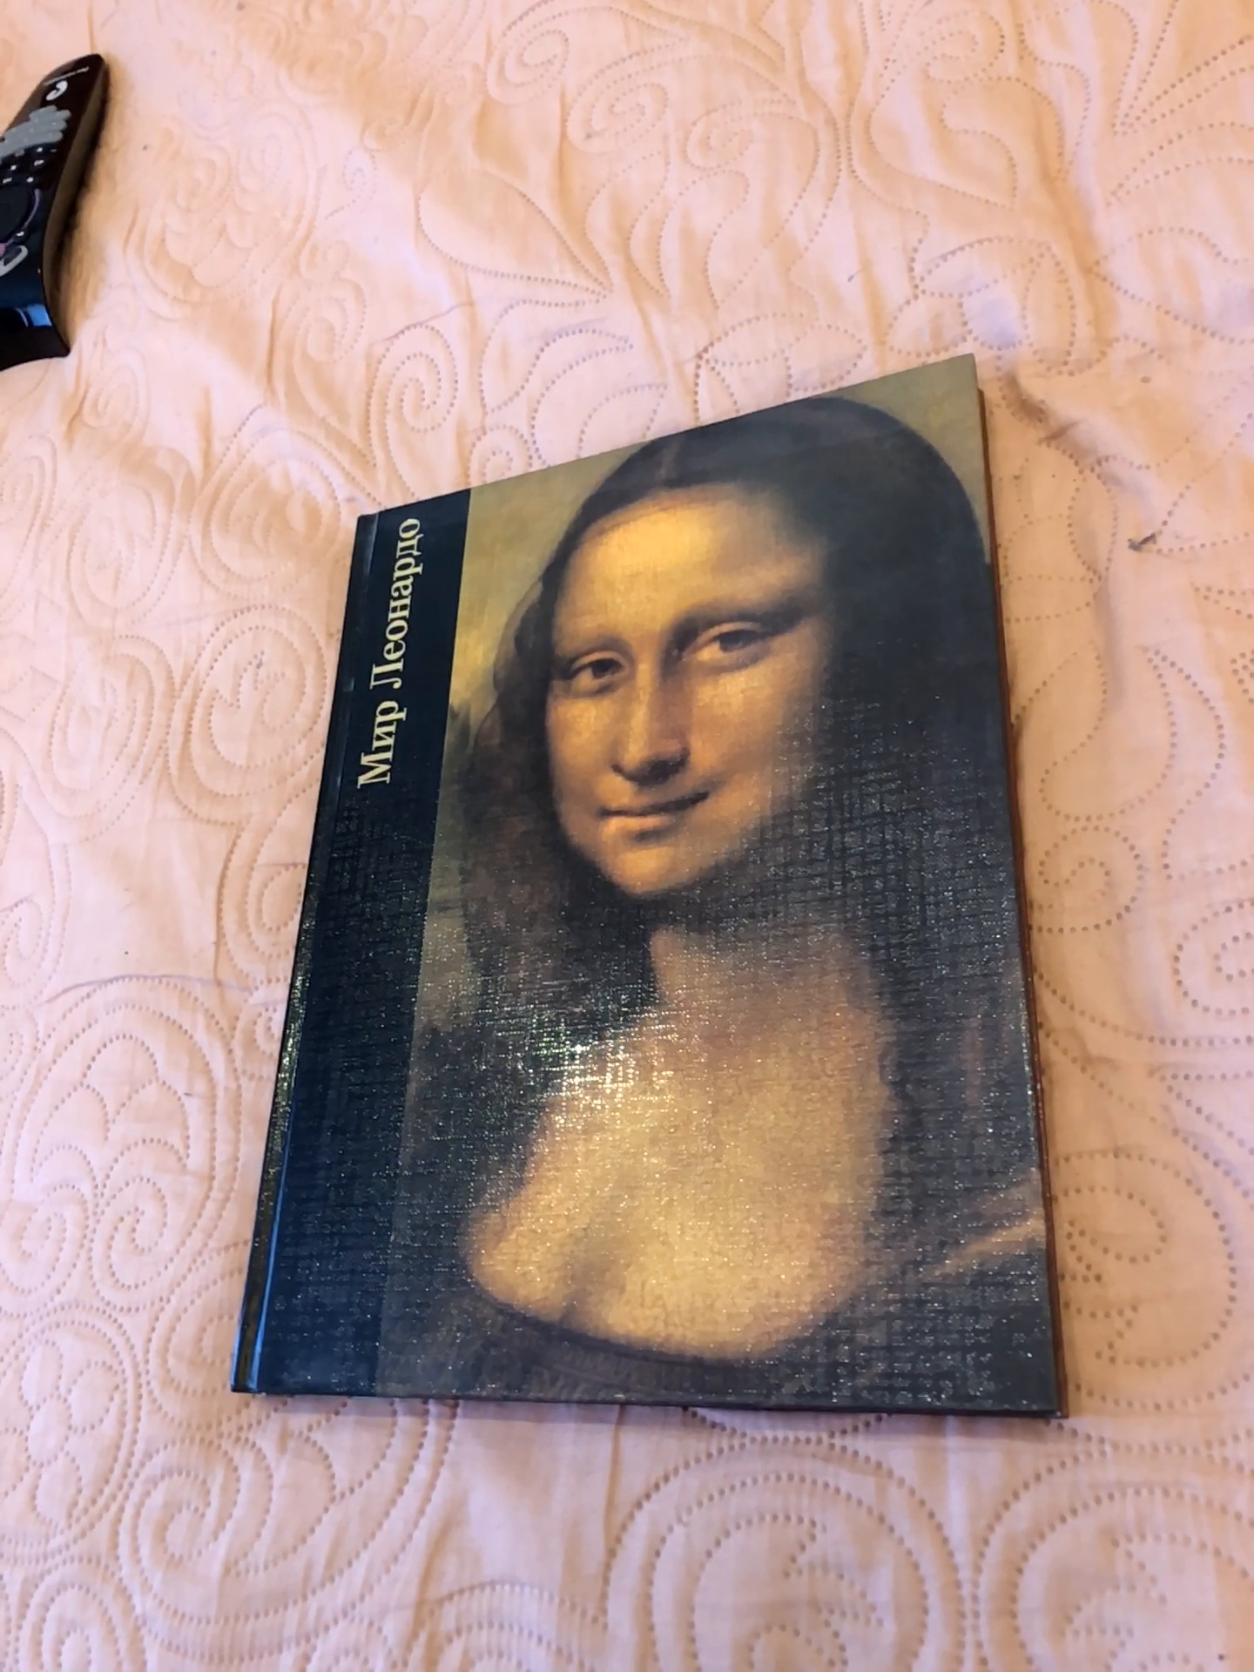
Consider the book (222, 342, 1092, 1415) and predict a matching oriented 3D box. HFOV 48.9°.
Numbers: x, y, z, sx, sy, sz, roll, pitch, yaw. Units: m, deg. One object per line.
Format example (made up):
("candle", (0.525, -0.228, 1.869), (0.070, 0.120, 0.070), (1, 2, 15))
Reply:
("book", (0.001, 0.009, 0.379), (0.210, 0.030, 0.273), (-9, 65, 22))
